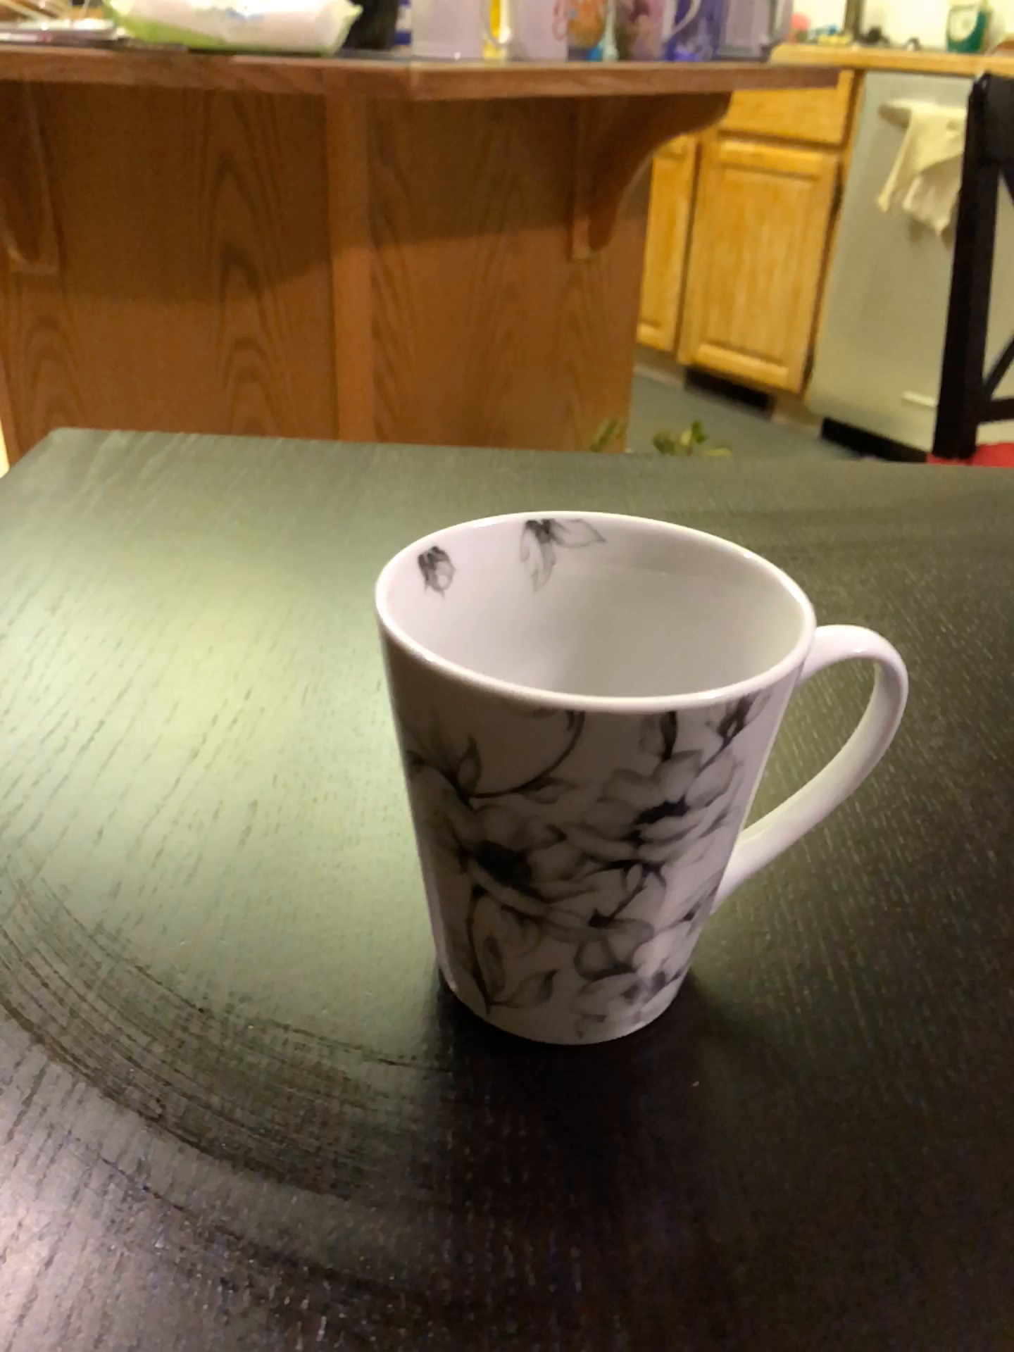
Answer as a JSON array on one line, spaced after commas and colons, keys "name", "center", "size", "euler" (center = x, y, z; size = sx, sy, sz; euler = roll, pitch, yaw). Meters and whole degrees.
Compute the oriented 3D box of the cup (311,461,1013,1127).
[{"name": "cup", "center": [0.023, 0.018, 0.263], "size": [0.120, 0.099, 0.101], "euler": [-6, 31, -15]}]
